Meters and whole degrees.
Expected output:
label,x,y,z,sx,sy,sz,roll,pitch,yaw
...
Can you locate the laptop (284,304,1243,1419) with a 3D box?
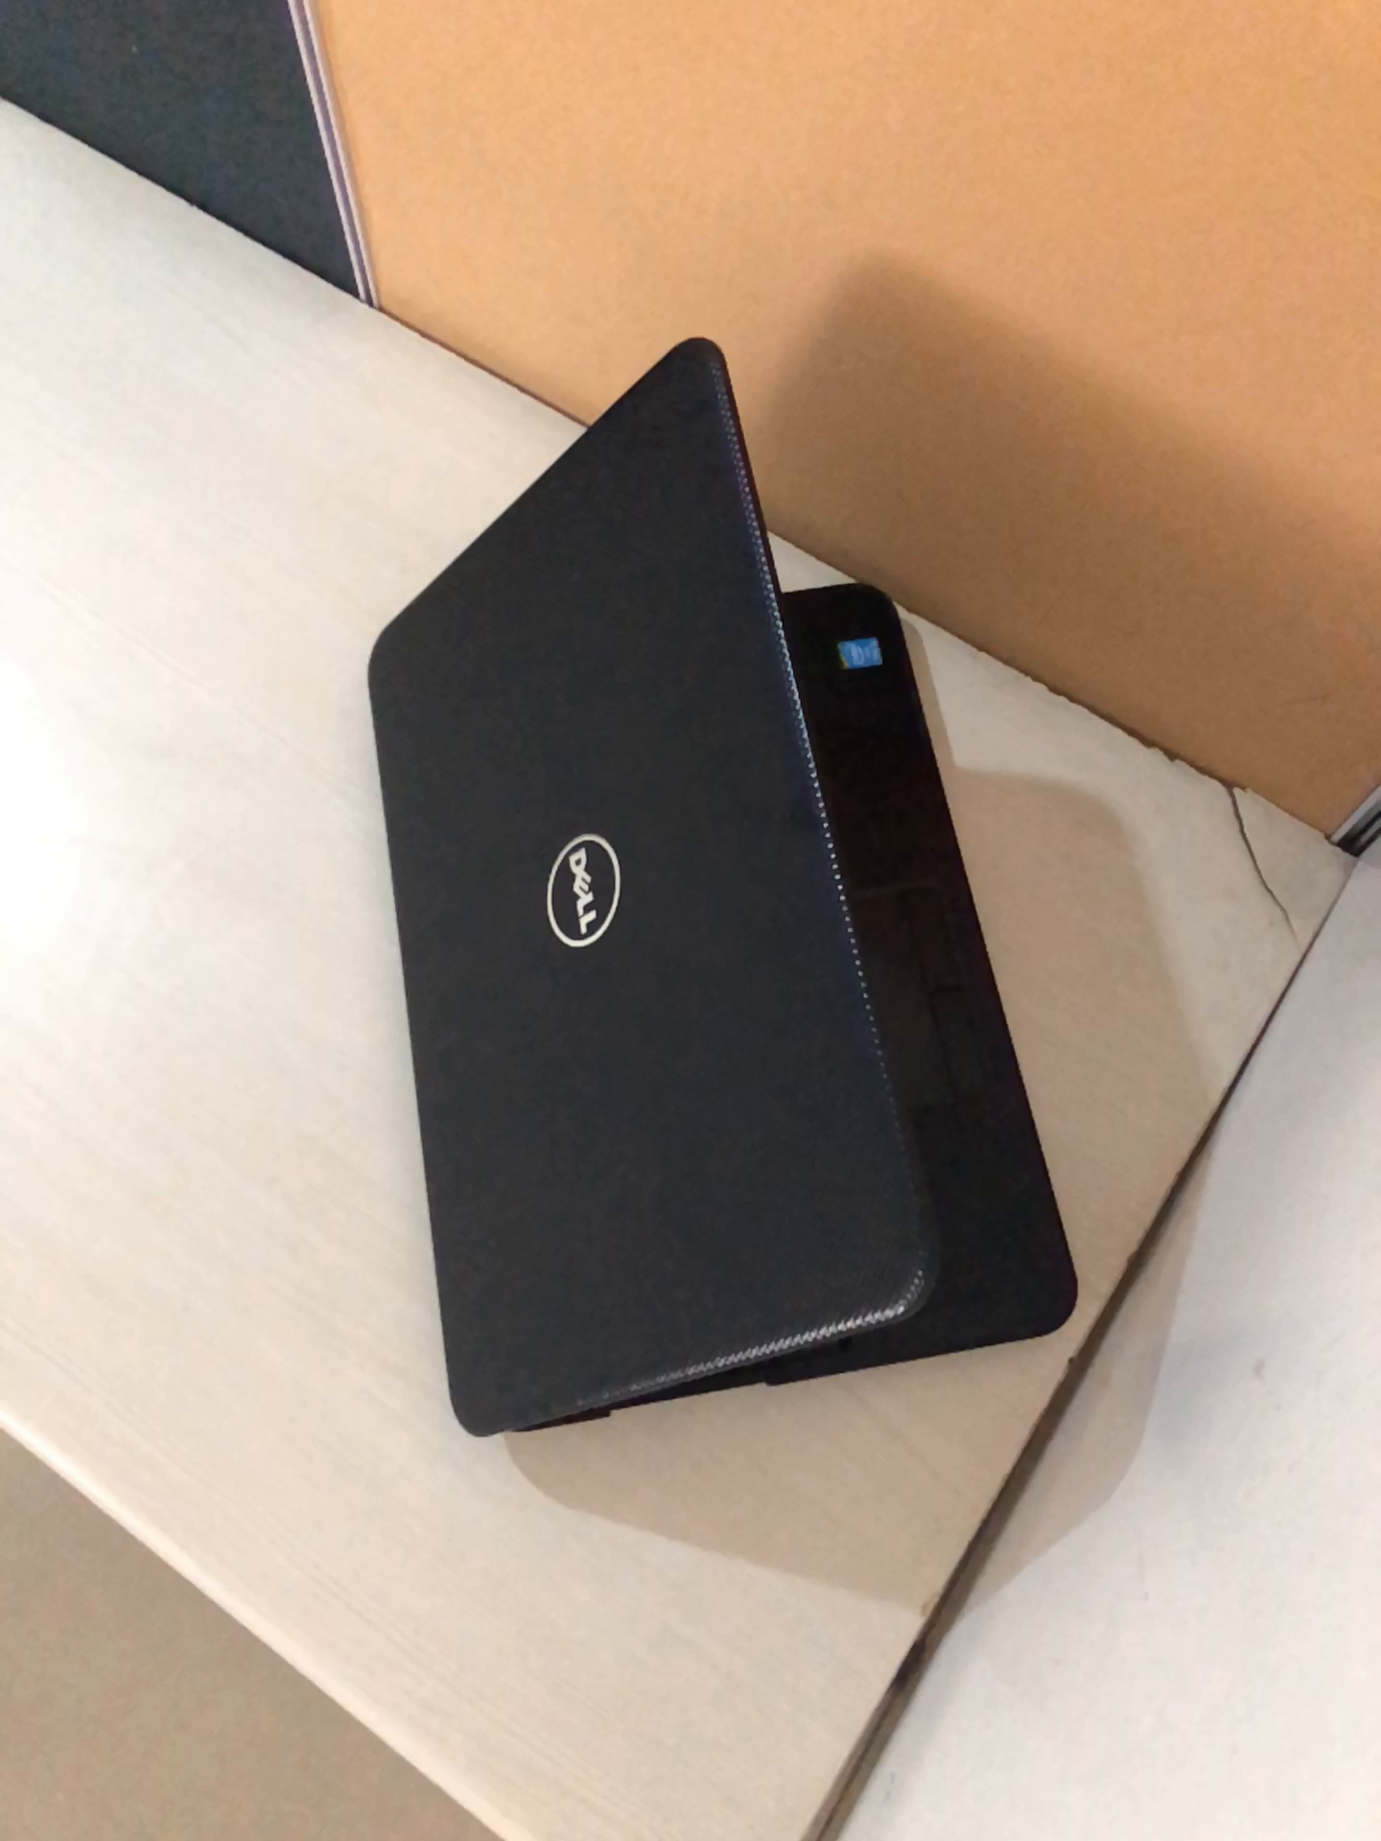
label,x,y,z,sx,sy,sz,roll,pitch,yaw
laptop,0.009,-0.019,0.587,0.254,0.180,0.353,-9,70,-6
